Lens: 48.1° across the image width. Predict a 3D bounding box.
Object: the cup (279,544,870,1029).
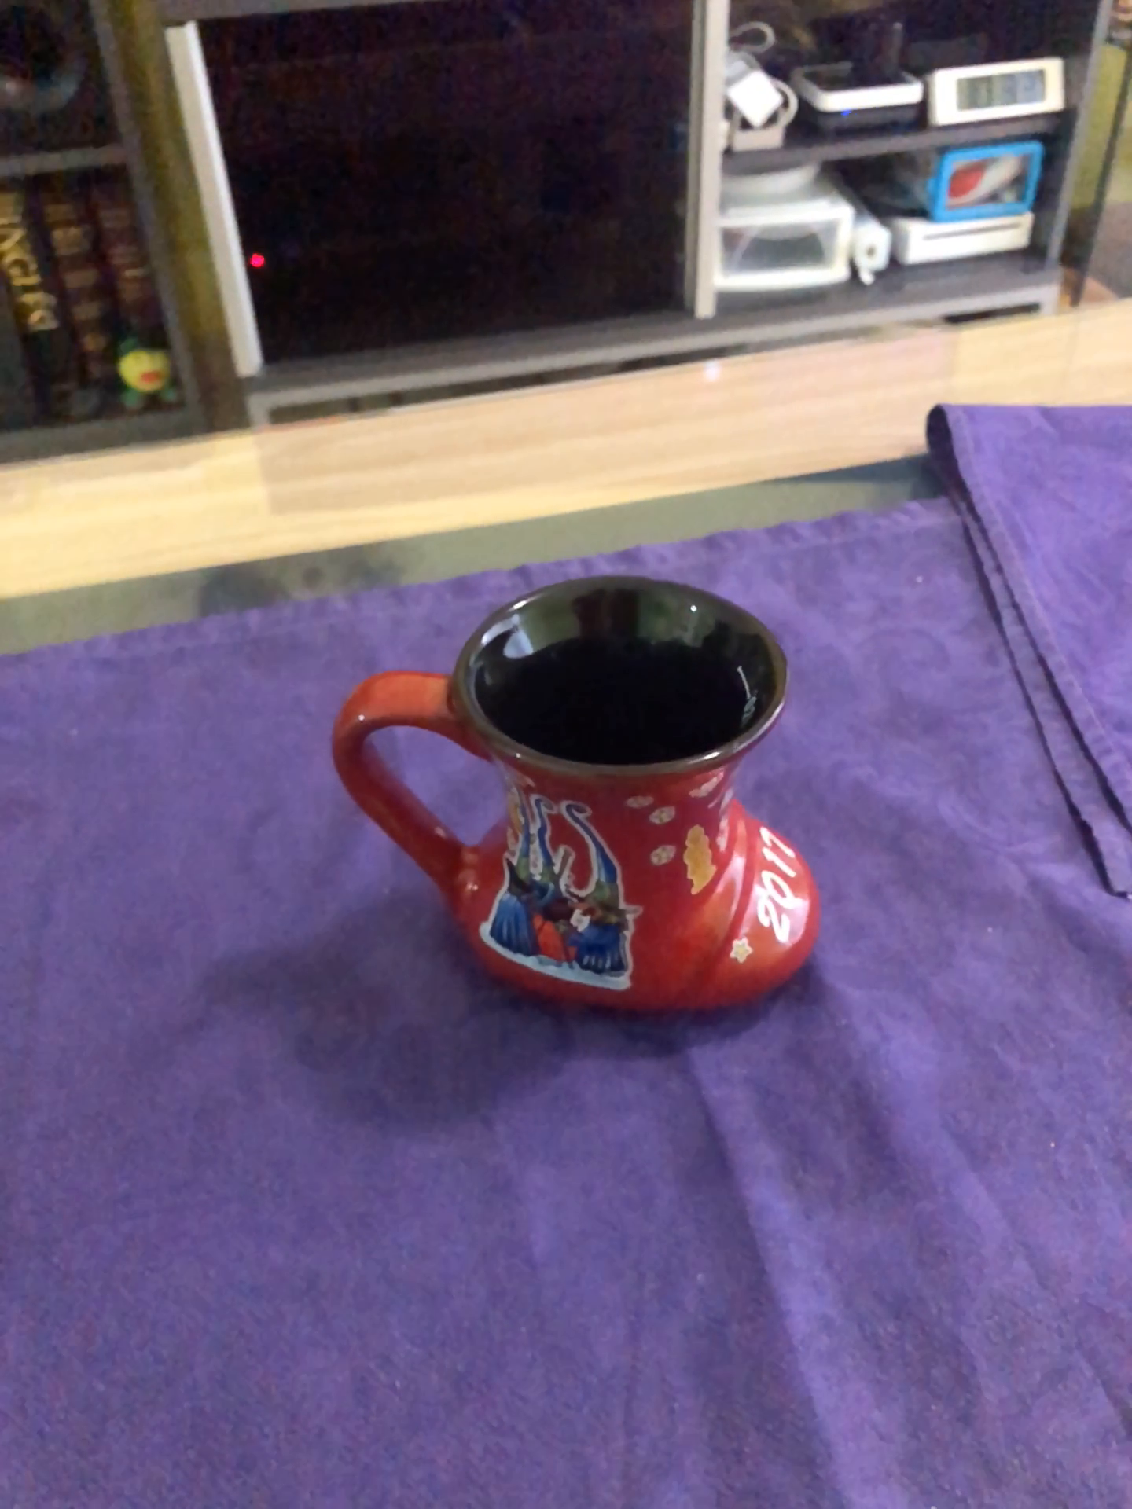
[{"bbox_3d":[0.006,0.007,0.311,0.120,0.090,0.070,2,41,6],"label":"cup"}]
